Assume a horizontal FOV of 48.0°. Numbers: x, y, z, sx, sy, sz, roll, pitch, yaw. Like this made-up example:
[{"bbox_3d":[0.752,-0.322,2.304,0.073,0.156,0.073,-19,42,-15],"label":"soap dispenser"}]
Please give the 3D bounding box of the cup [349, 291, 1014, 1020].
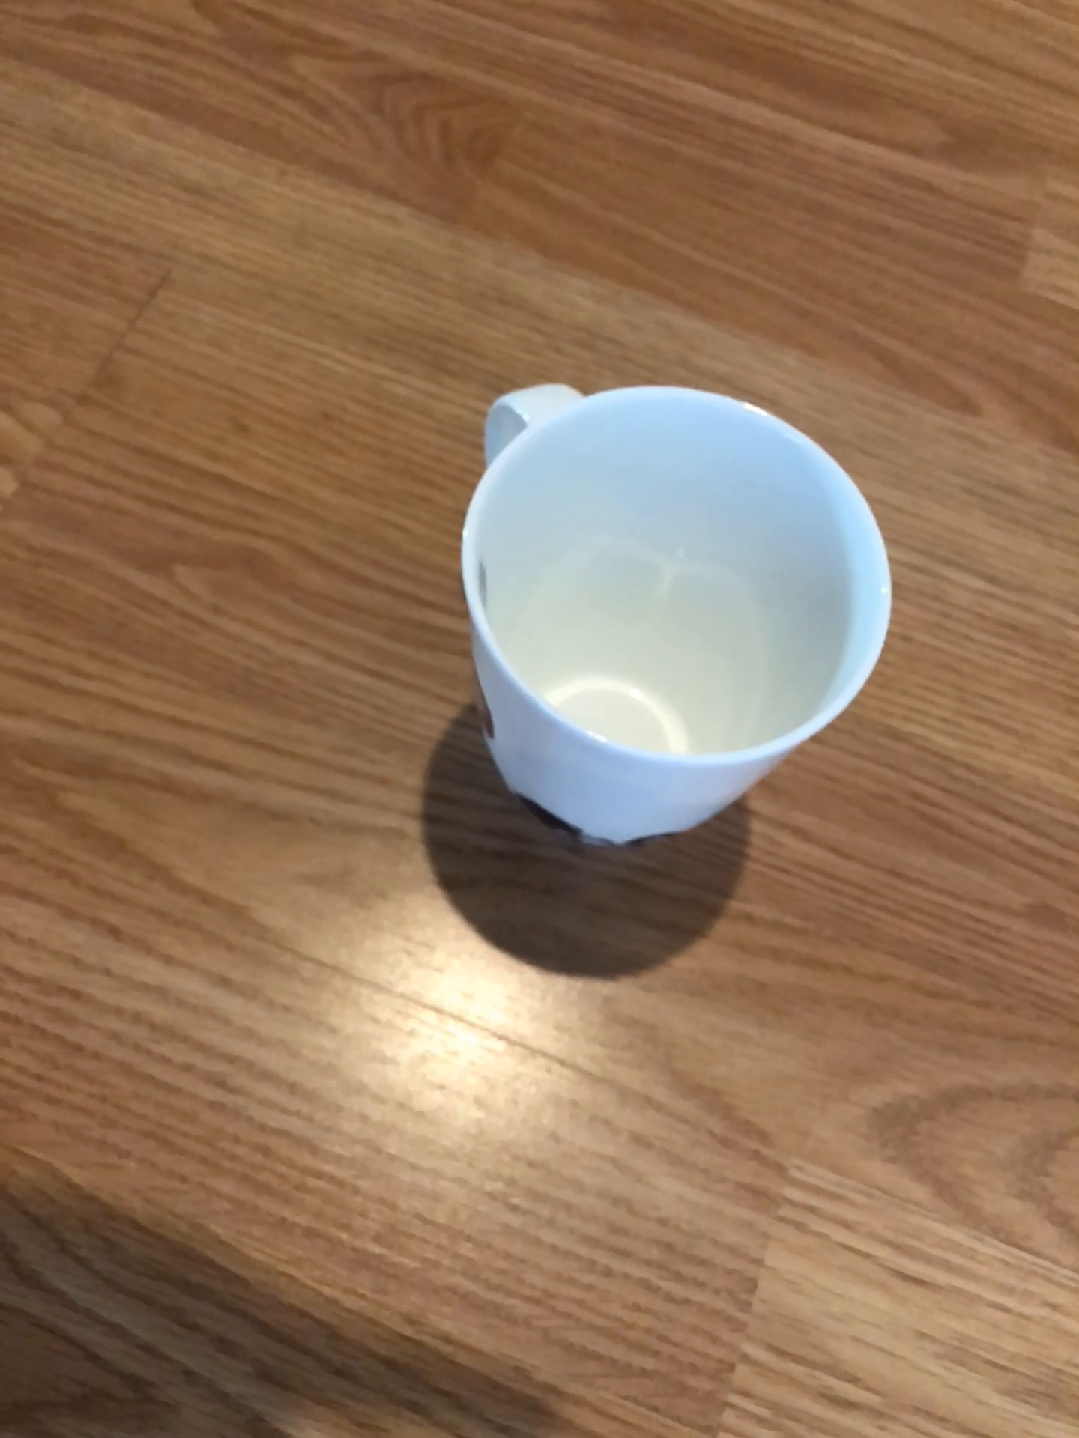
[{"bbox_3d":[0.021,-0.012,0.281,0.090,0.090,0.120,-20,70,-14],"label":"cup"}]
